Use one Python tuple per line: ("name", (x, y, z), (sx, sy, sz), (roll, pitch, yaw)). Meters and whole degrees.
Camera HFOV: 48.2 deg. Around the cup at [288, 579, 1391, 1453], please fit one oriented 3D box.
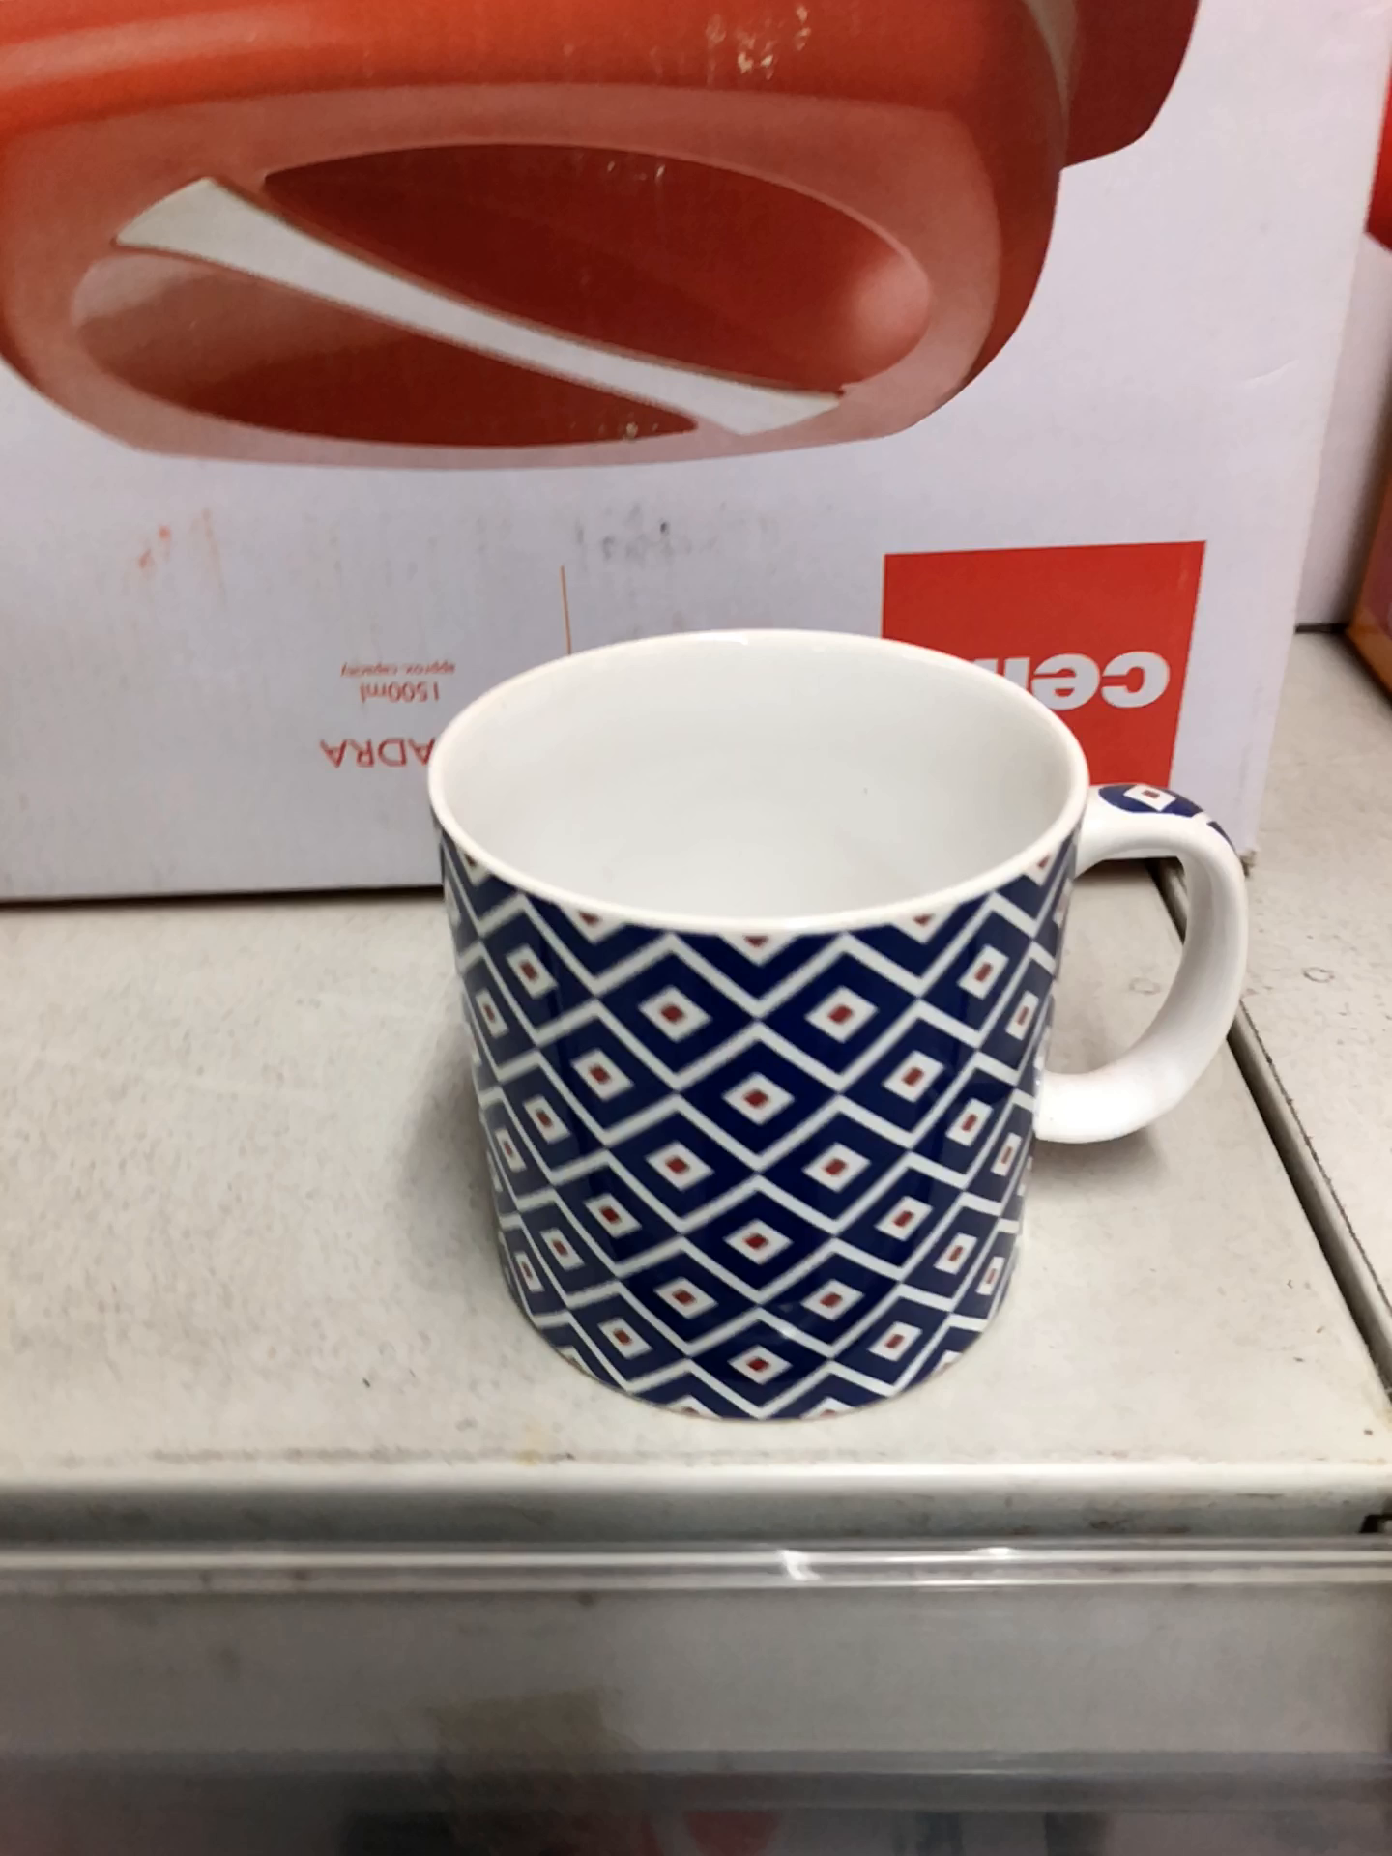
("cup", (0.017, 0.008, 0.204), (0.110, 0.079, 0.081), (-1, 33, 1))
